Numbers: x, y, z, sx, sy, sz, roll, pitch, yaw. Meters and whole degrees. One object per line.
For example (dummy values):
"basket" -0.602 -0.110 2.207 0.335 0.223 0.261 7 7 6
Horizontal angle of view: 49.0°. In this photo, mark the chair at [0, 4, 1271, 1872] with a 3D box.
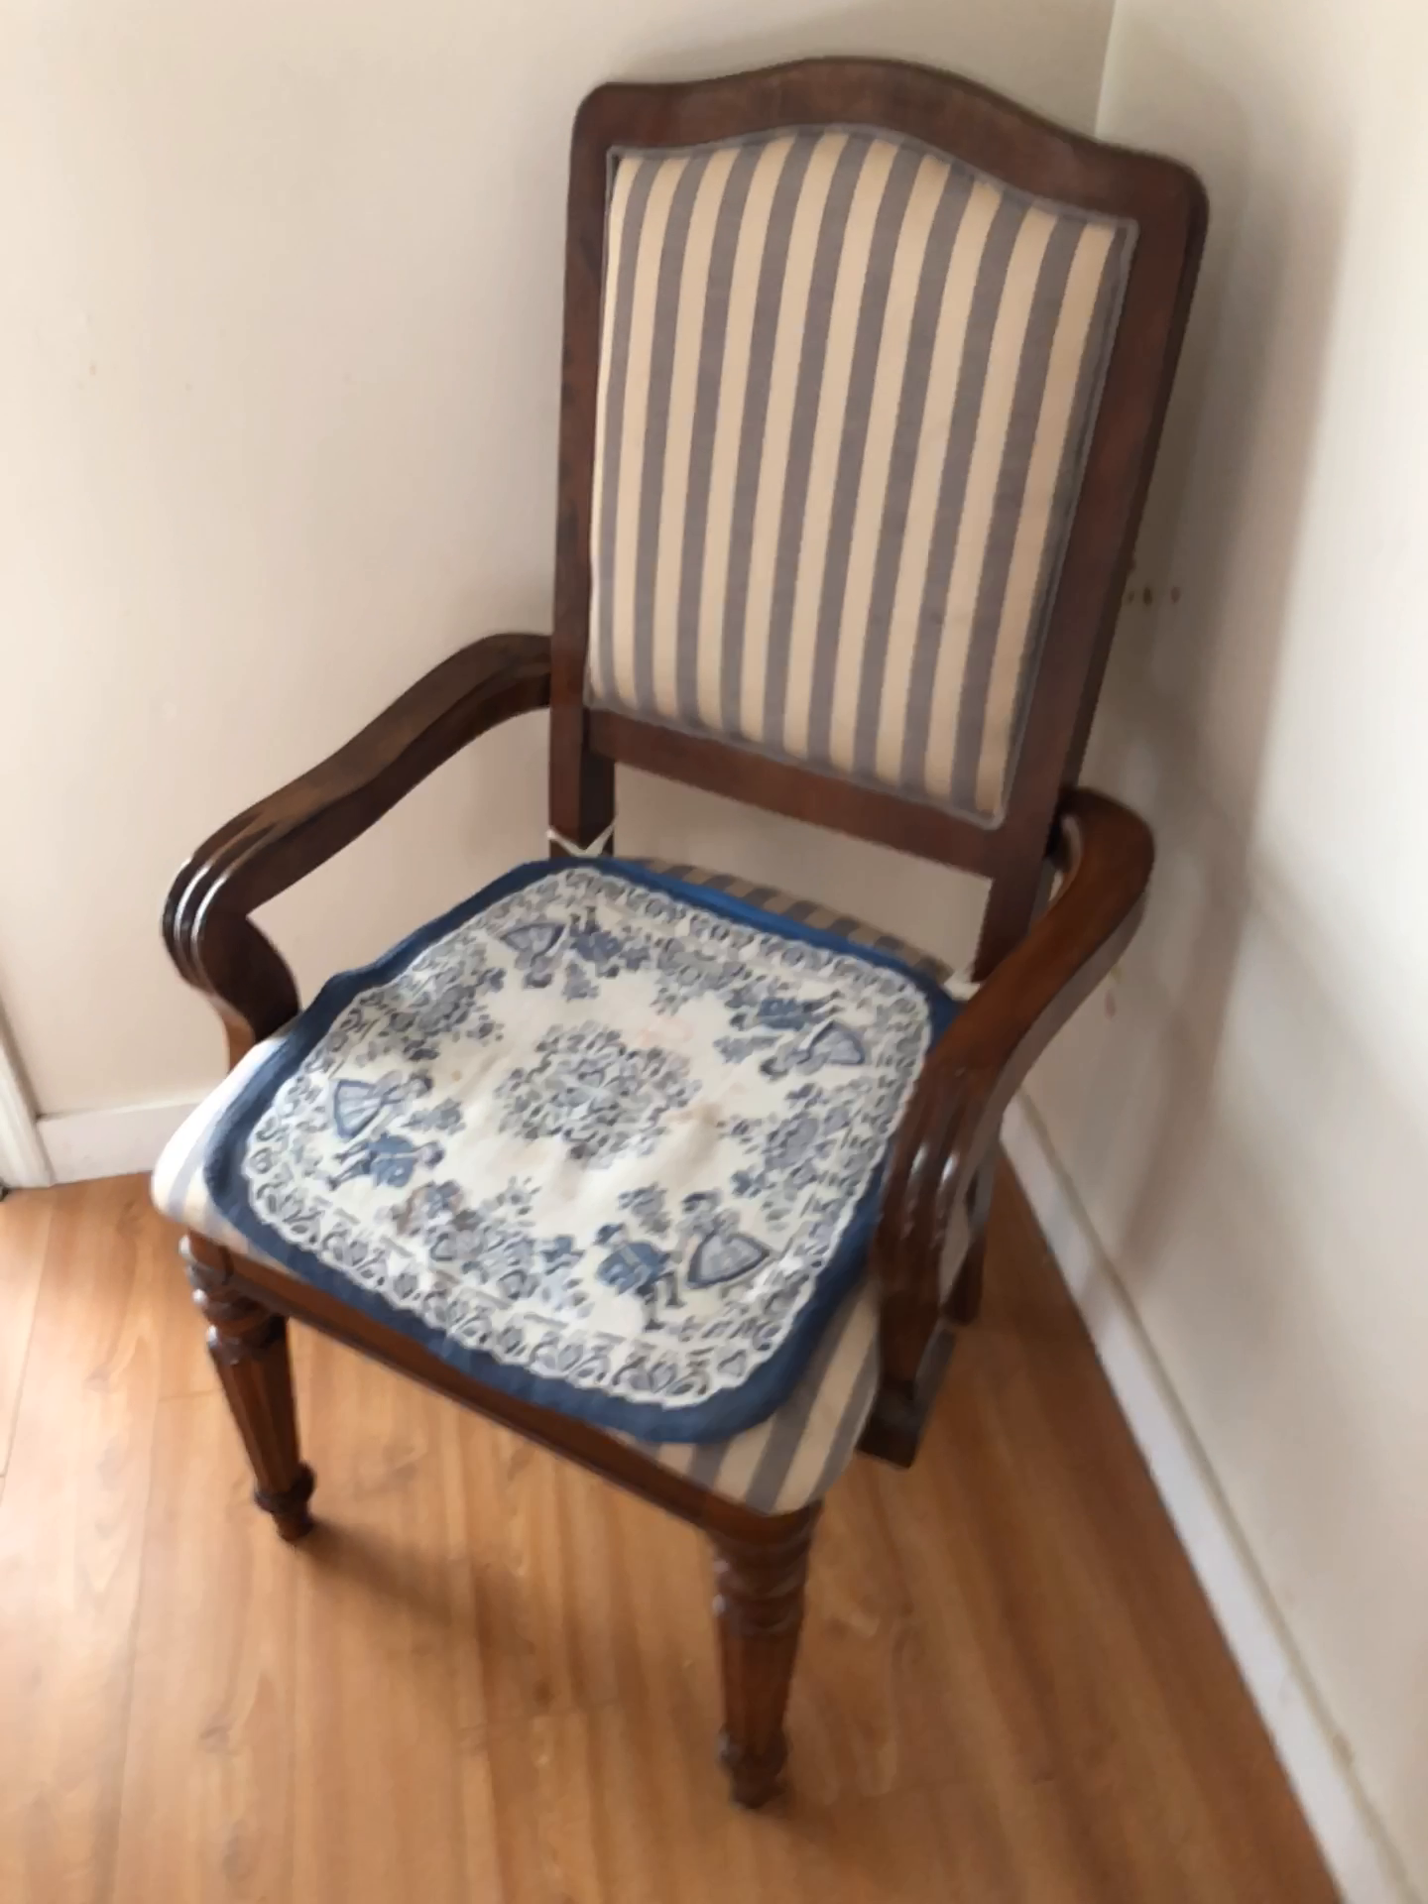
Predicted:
"chair" -0.058 0.009 1.082 0.531 1.043 0.583 17 42 21
